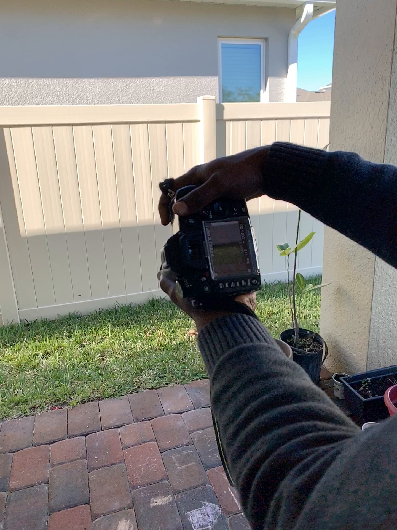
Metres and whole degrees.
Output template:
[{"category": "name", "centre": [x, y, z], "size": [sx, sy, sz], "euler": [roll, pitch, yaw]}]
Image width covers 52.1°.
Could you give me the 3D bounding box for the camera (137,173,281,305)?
[{"category": "camera", "centre": [-0.001, -0.019, 0.451], "size": [0.090, 0.110, 0.170], "euler": [-8, -4, -20]}]
